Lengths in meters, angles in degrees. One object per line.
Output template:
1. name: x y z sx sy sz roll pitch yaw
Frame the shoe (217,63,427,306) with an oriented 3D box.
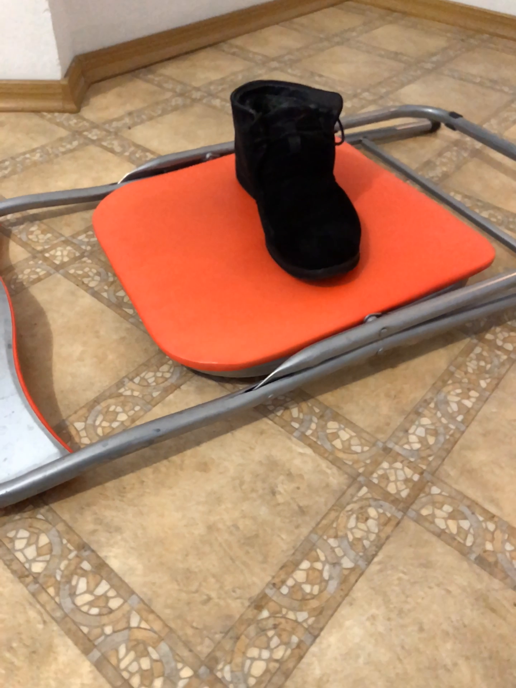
1. shoe: 0.048 -0.186 0.617 0.110 0.129 0.272 -12 47 -15
